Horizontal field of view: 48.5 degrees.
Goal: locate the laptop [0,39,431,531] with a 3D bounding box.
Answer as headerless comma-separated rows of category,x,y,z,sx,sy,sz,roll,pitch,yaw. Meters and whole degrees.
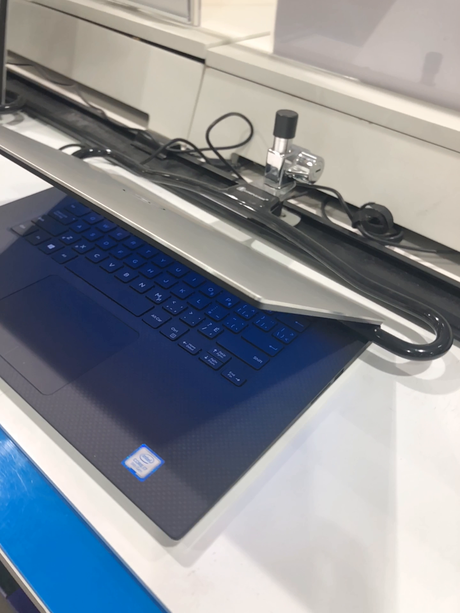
laptop,-0.085,-0.064,0.363,0.346,0.133,0.217,31,46,27
